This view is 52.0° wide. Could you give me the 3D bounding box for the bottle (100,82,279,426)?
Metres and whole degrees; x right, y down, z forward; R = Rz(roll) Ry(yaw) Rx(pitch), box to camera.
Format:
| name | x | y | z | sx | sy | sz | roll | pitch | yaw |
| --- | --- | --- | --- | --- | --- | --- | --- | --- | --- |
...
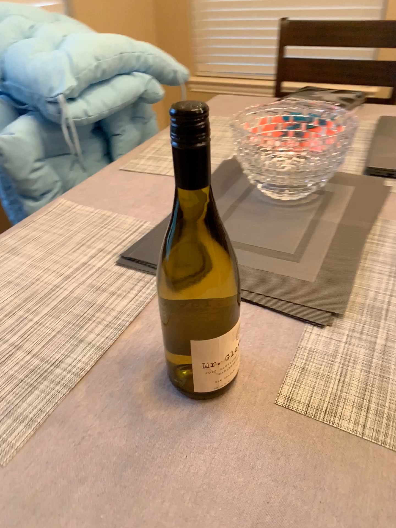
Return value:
| name | x | y | z | sx | sy | sz | roll | pitch | yaw |
| --- | --- | --- | --- | --- | --- | --- | --- | --- | --- |
| bottle | 0.001 | 0.007 | 0.374 | 0.090 | 0.298 | 0.090 | -2 | 36 | 1 |
